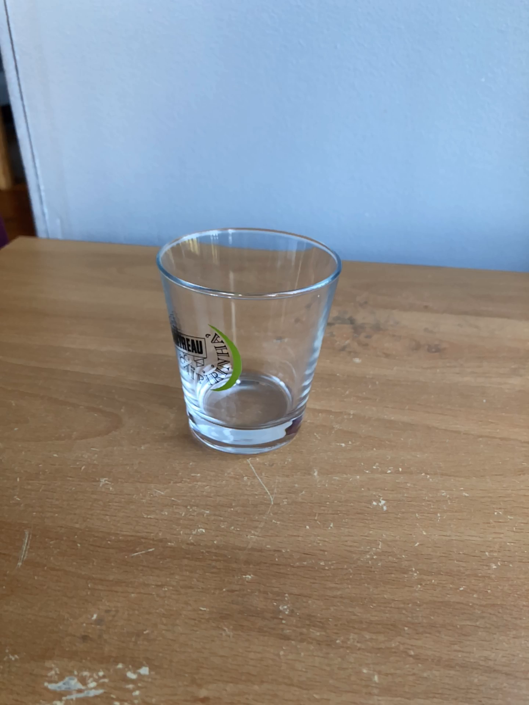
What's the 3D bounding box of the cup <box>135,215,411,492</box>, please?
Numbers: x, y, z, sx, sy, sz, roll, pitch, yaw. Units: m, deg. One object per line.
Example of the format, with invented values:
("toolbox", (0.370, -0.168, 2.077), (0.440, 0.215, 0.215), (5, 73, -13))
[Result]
("cup", (0.001, -0.007, 0.250), (0.076, 0.073, 0.079), (1, 29, 0))
